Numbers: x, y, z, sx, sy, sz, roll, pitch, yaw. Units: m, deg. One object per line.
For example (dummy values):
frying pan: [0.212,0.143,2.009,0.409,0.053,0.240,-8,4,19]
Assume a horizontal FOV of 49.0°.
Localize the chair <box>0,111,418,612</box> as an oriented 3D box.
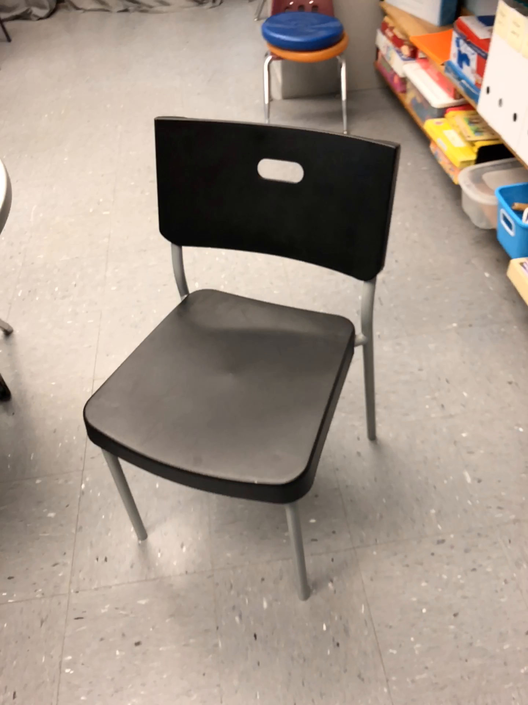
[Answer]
chair: [-0.029,0.038,1.122,0.466,0.777,0.474,13,48,18]
